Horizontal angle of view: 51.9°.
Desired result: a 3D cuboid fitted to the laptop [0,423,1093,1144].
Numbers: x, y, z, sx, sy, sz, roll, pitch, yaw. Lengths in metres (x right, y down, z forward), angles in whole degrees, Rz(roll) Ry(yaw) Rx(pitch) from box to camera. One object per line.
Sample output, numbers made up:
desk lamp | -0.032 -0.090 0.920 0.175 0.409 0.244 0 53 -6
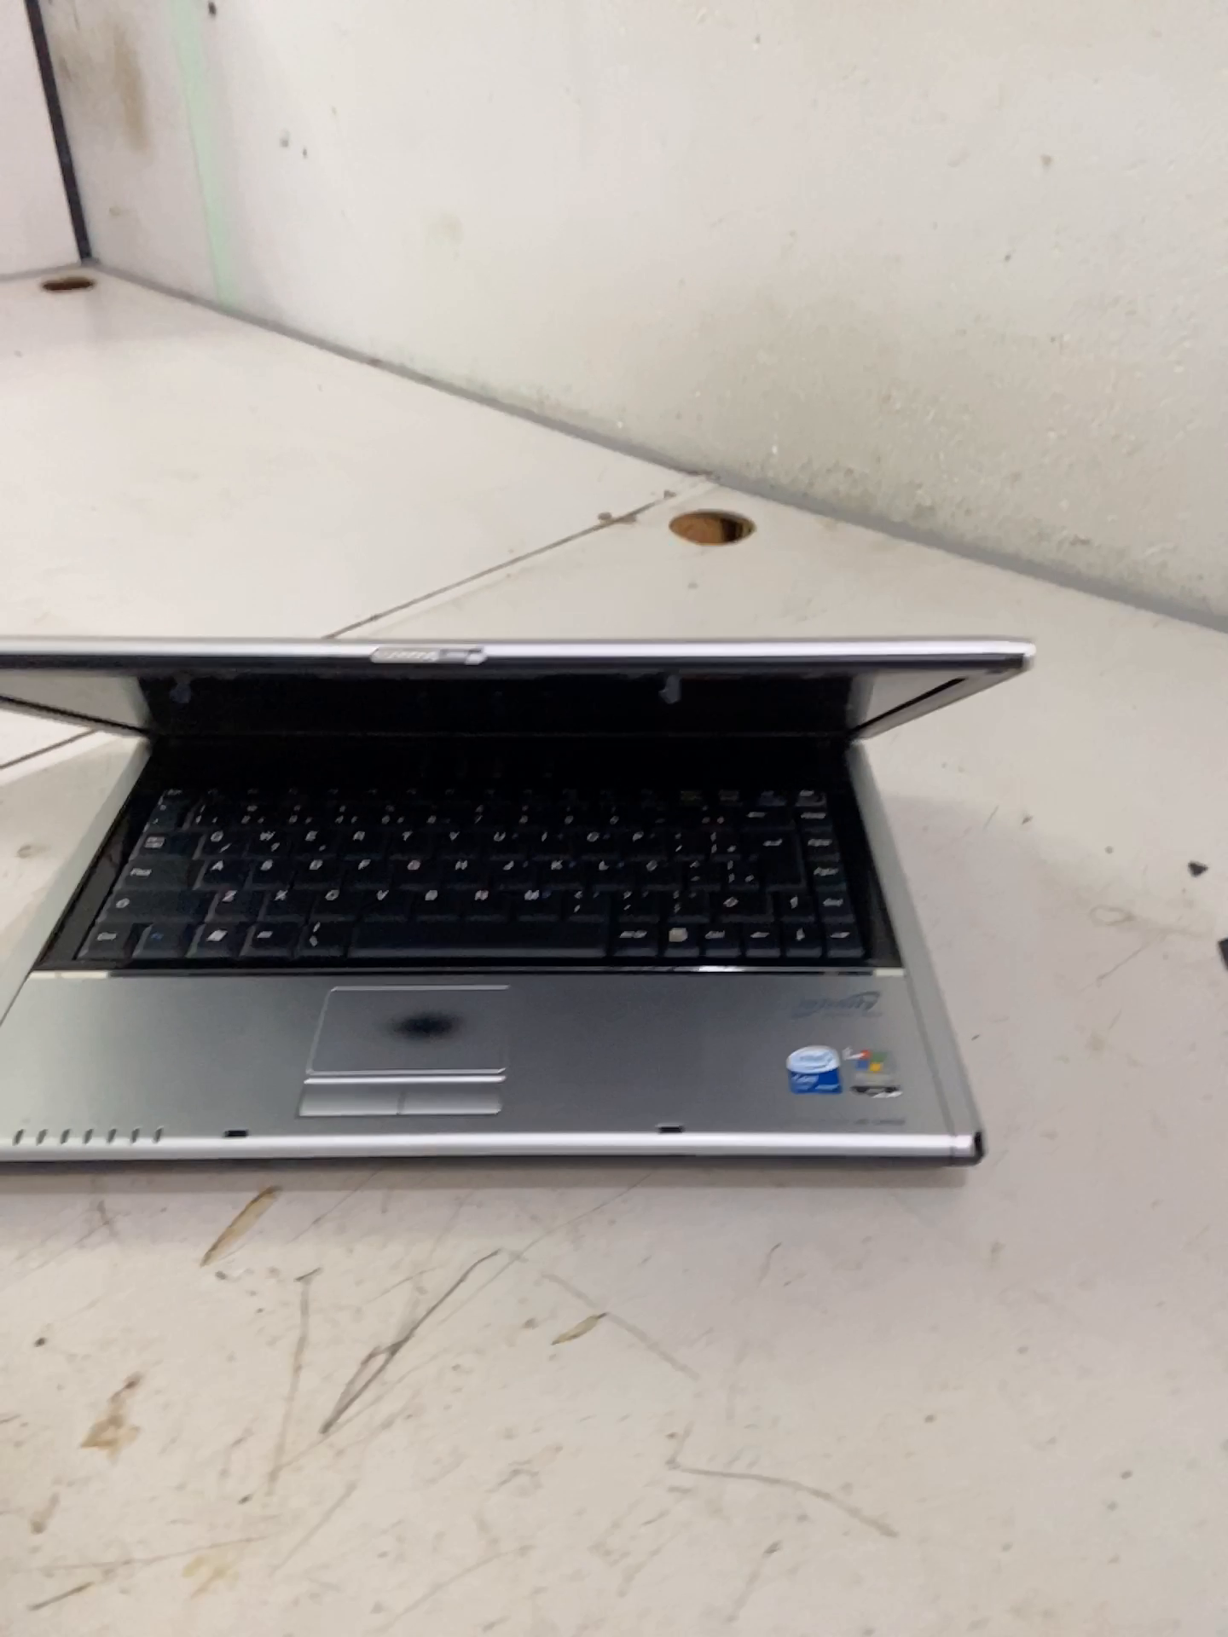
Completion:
laptop | -0.049 -0.026 0.430 0.319 0.144 0.228 0 35 0
